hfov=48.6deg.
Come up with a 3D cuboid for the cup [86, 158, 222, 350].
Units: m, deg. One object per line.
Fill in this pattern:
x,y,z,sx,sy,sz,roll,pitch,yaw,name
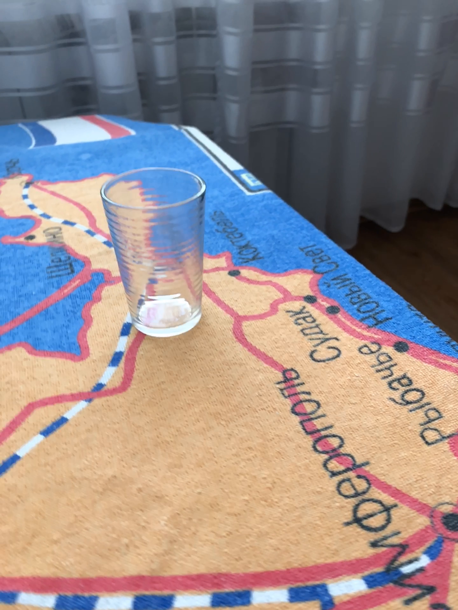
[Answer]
-0.049,-0.036,0.347,0.070,0.099,0.068,0,37,0,cup
